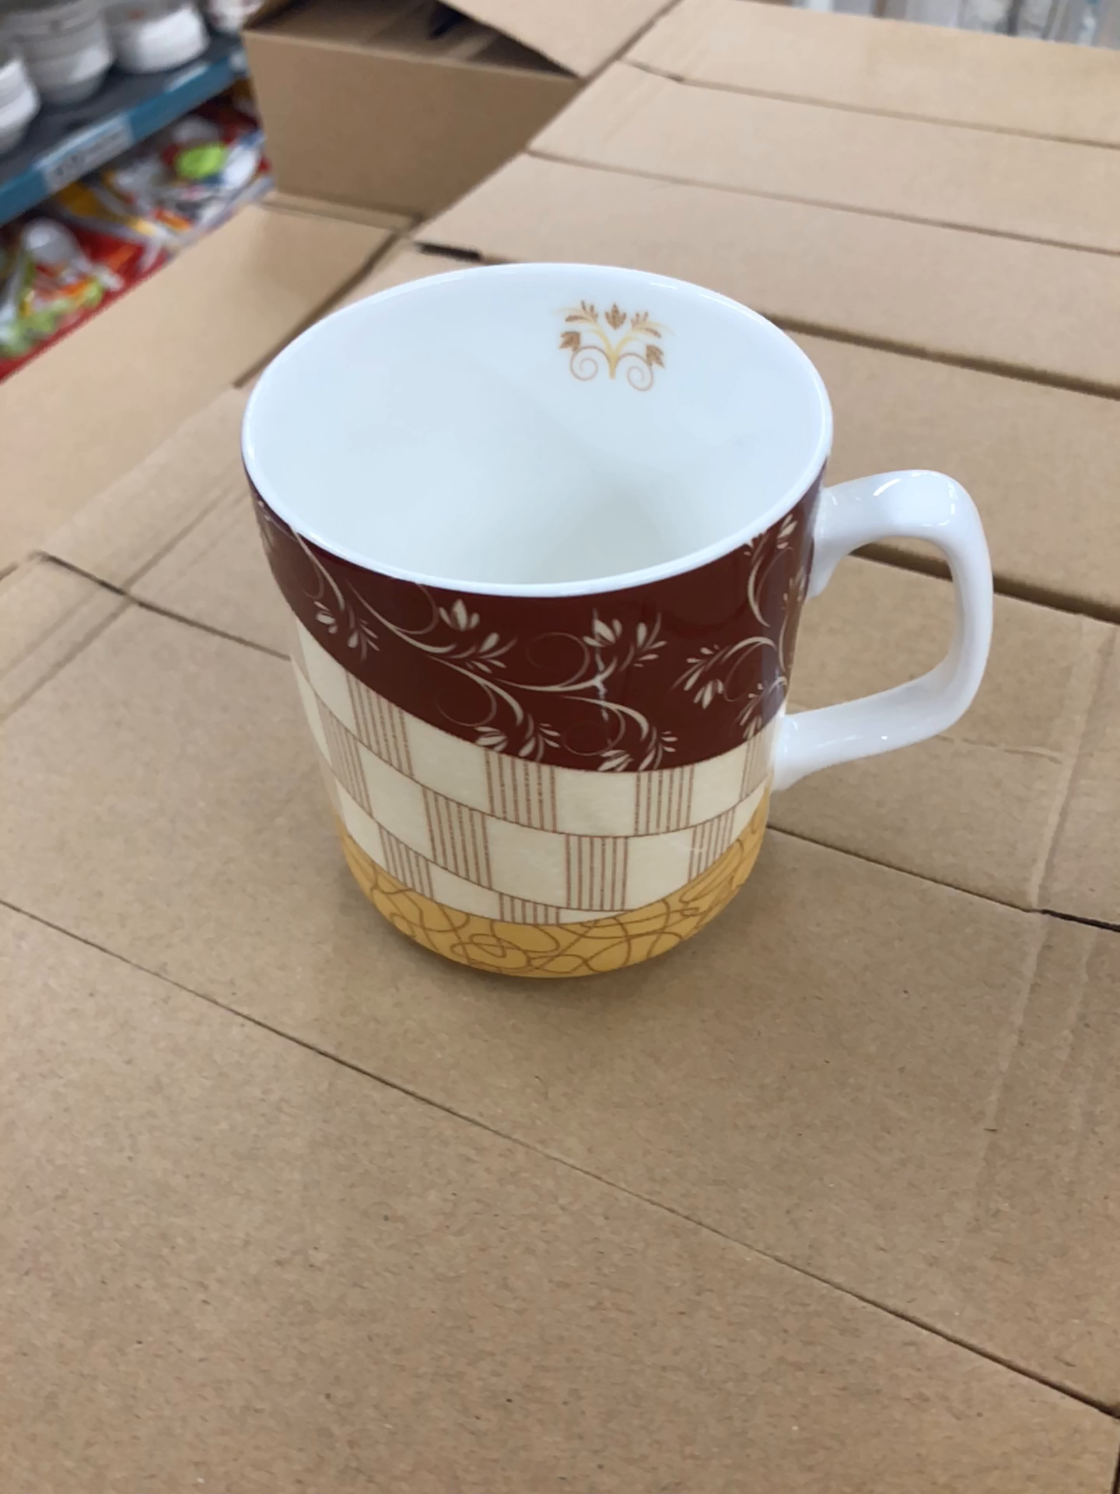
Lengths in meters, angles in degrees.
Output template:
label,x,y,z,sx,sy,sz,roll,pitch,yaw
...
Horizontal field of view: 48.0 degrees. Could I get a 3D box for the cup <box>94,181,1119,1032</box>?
label,x,y,z,sx,sy,sz,roll,pitch,yaw
cup,0.009,-0.016,0.166,0.100,0.080,0.070,-3,47,1
